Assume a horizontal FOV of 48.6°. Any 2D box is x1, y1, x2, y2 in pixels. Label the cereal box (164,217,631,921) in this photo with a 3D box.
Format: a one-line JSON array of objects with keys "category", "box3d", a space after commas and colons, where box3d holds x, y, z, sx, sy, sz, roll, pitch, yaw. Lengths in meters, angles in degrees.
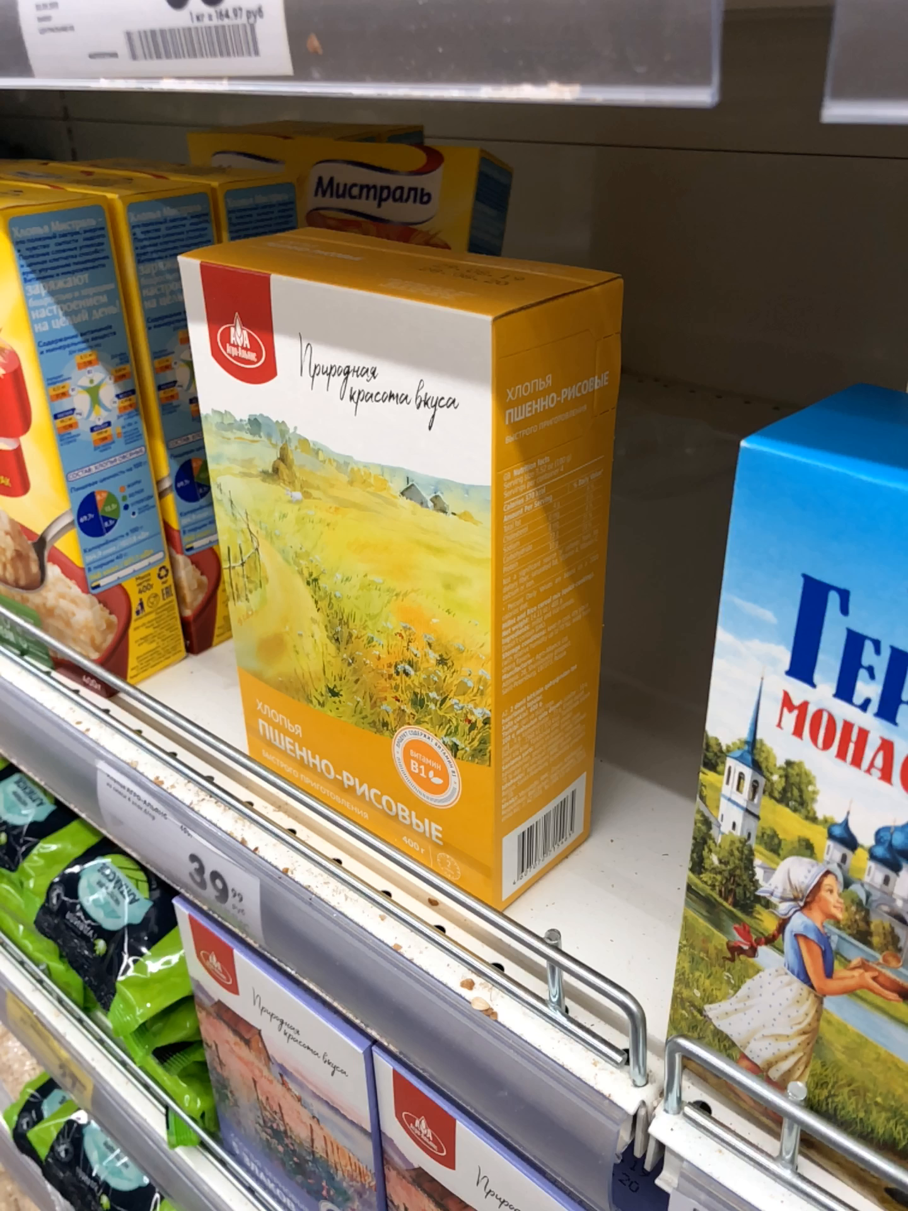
[{"category": "cereal box", "box3d": [-0.018, -0.016, 0.338, 0.130, 0.199, 0.060, 22, 36, 37]}]
